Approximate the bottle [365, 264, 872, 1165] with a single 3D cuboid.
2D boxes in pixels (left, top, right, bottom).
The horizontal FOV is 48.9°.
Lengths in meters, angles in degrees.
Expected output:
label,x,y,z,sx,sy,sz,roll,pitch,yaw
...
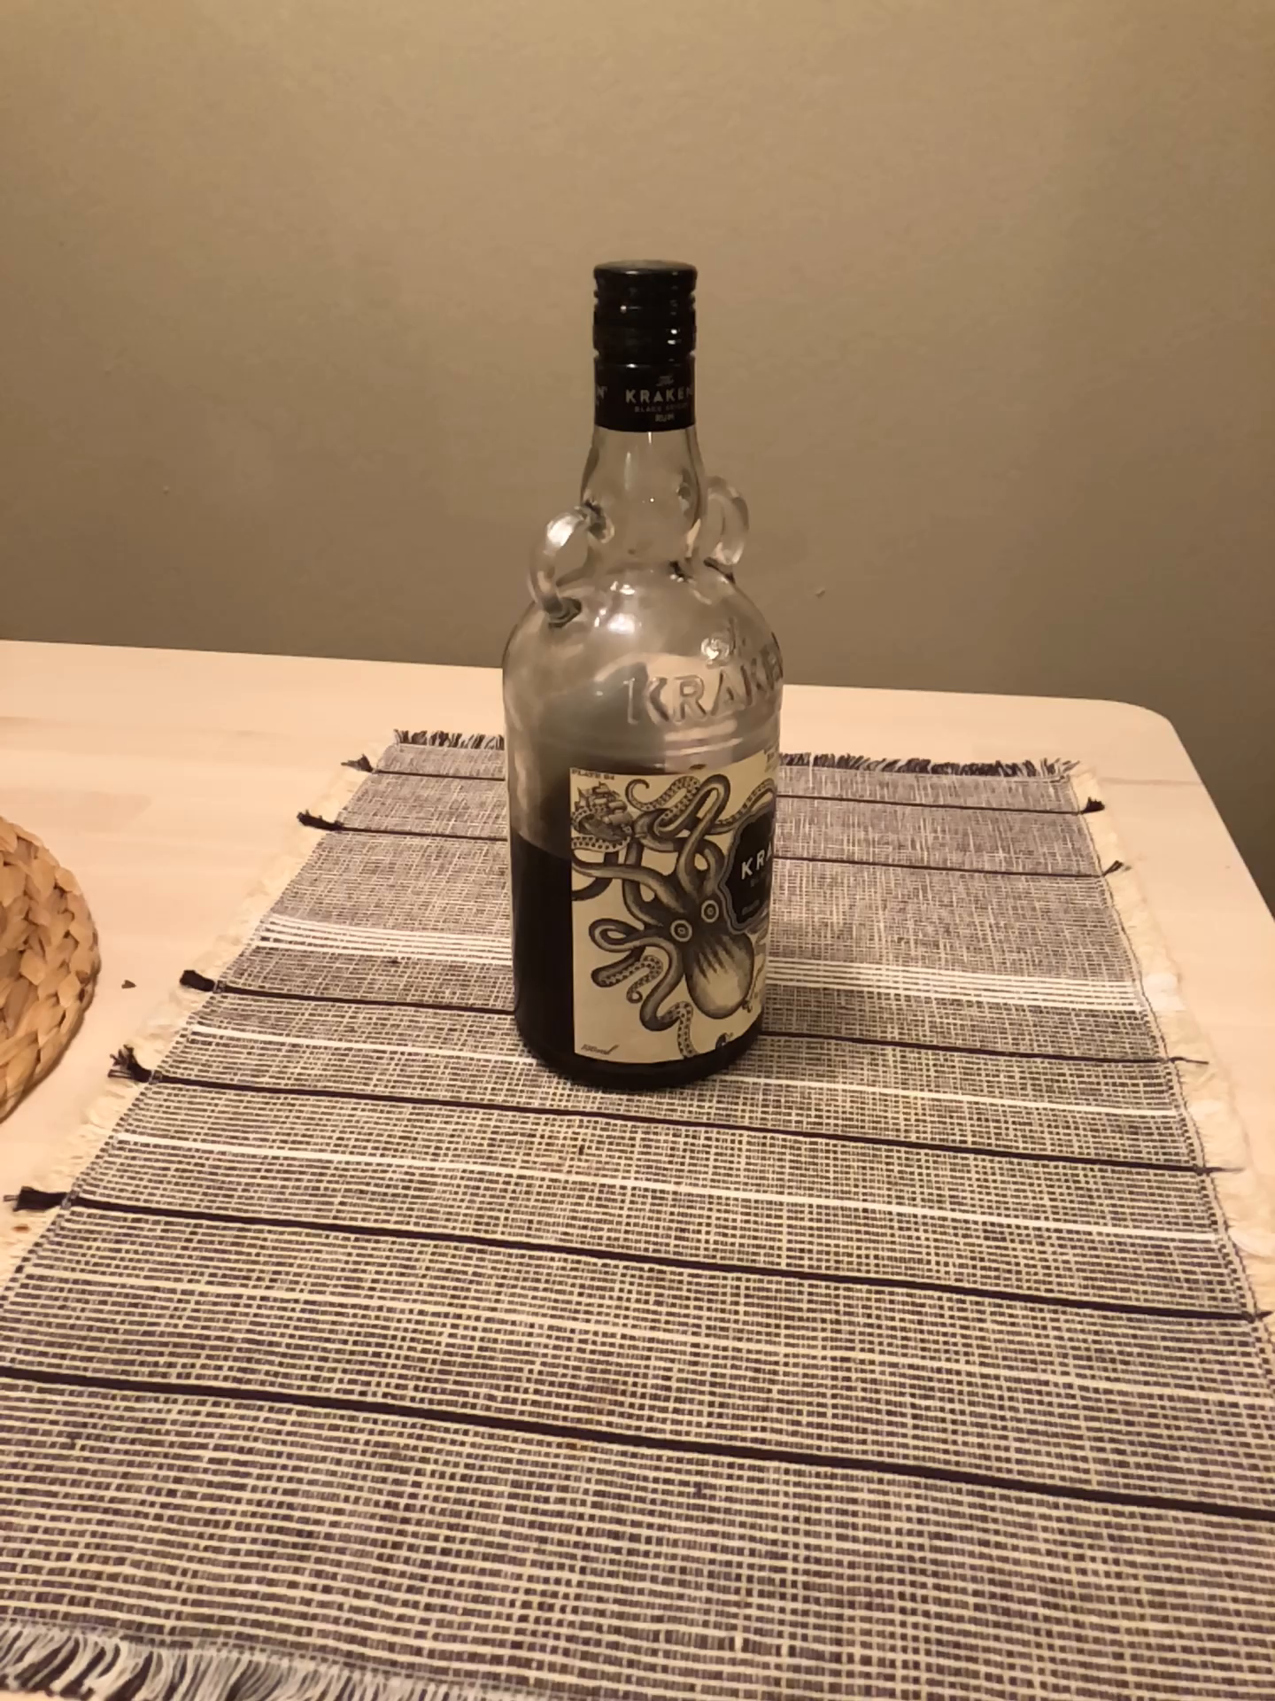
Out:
label,x,y,z,sx,sy,sz,roll,pitch,yaw
bottle,-0.004,-0.046,0.444,0.100,0.249,0.100,0,26,0
